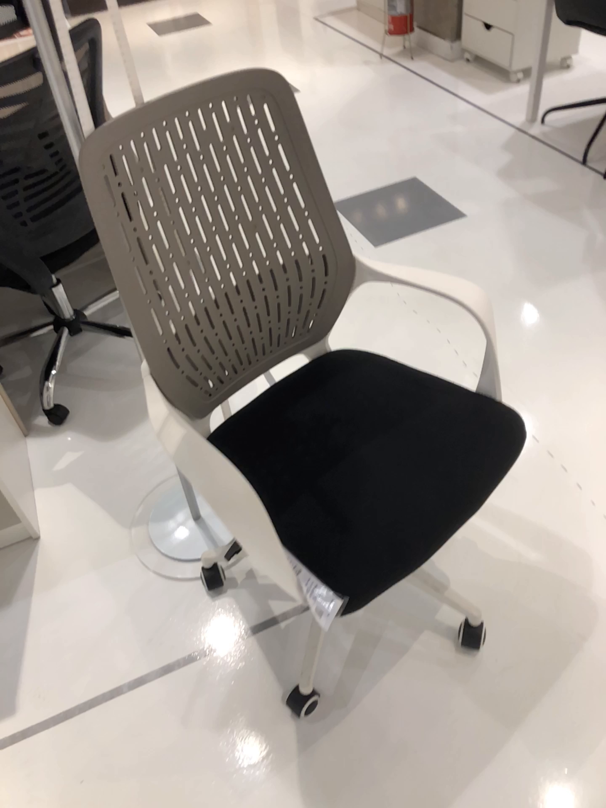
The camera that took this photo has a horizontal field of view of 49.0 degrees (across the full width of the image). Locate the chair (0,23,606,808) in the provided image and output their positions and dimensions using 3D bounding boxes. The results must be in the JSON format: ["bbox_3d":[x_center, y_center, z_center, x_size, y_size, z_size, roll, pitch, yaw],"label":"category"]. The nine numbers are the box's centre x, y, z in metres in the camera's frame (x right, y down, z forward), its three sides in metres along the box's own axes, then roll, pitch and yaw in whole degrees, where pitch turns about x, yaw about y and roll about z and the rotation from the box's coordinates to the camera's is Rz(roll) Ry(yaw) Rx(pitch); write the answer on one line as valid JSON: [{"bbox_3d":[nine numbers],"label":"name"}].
[{"bbox_3d":[0.076,0.024,1.173,0.692,1.003,0.673,-35,50,-26],"label":"chair"}]
